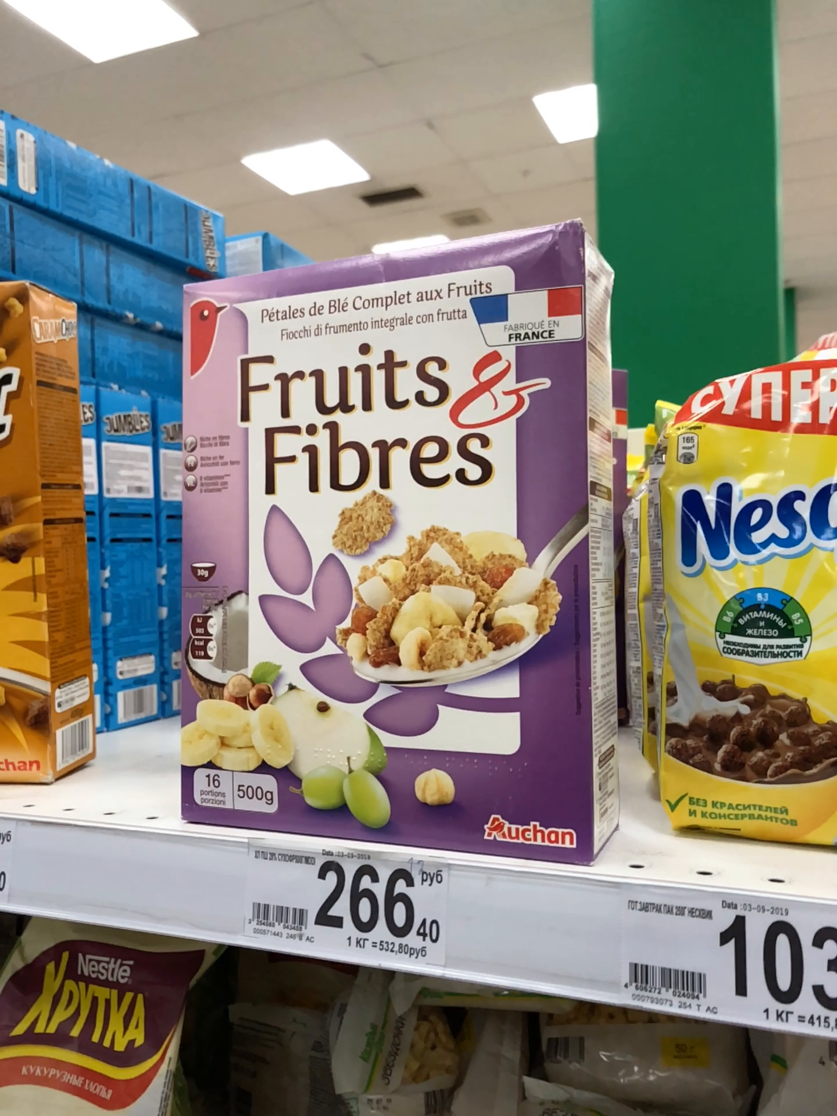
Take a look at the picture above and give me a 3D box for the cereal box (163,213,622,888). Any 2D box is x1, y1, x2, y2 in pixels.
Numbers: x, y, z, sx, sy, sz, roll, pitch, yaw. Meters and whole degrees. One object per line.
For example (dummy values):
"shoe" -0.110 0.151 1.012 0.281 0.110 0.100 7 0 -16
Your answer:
"cereal box" -0.016 -0.002 0.423 0.200 0.260 0.060 -1 -2 23
